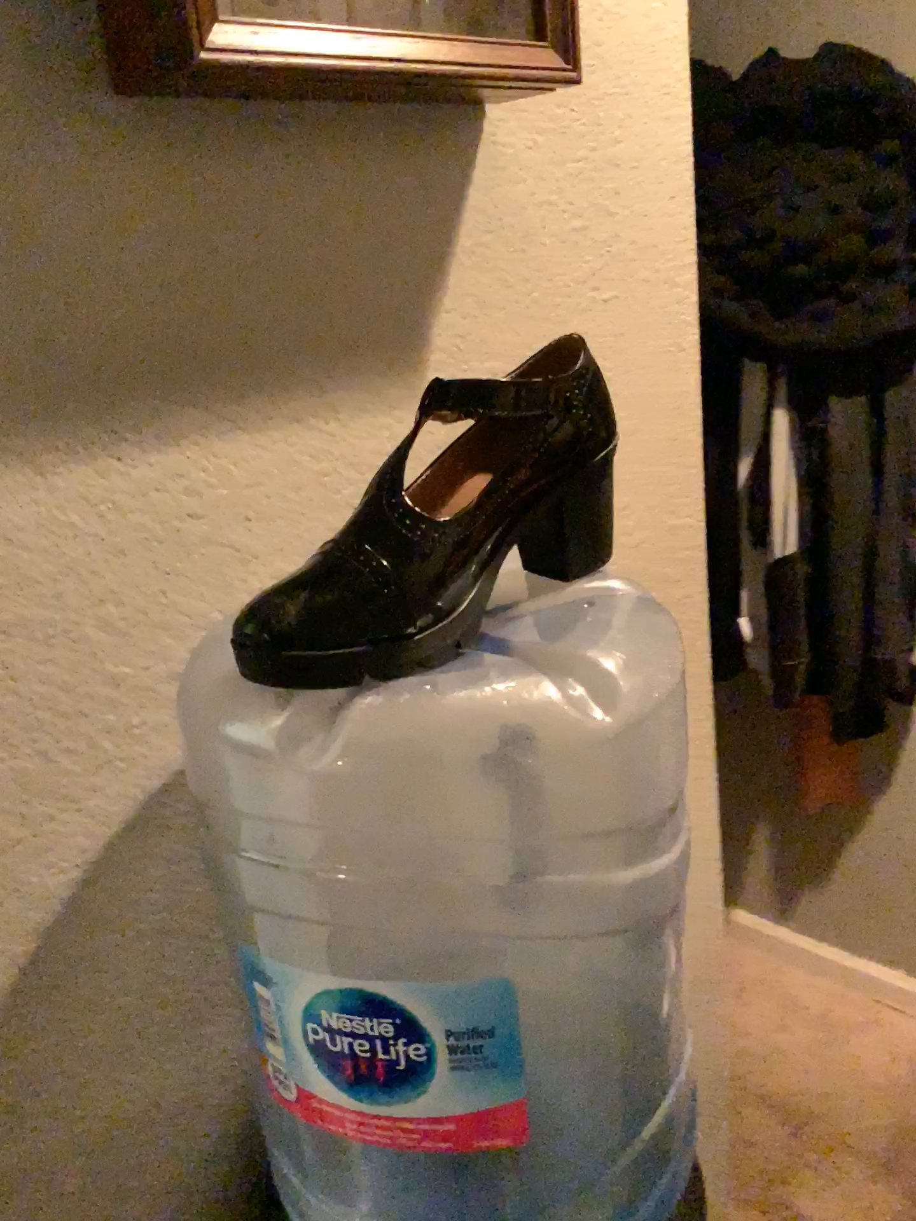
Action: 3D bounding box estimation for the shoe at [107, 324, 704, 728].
[{"bbox_3d":[-0.012,-0.060,0.496,0.250,0.120,0.130,-22,24,-37],"label":"shoe"}]
